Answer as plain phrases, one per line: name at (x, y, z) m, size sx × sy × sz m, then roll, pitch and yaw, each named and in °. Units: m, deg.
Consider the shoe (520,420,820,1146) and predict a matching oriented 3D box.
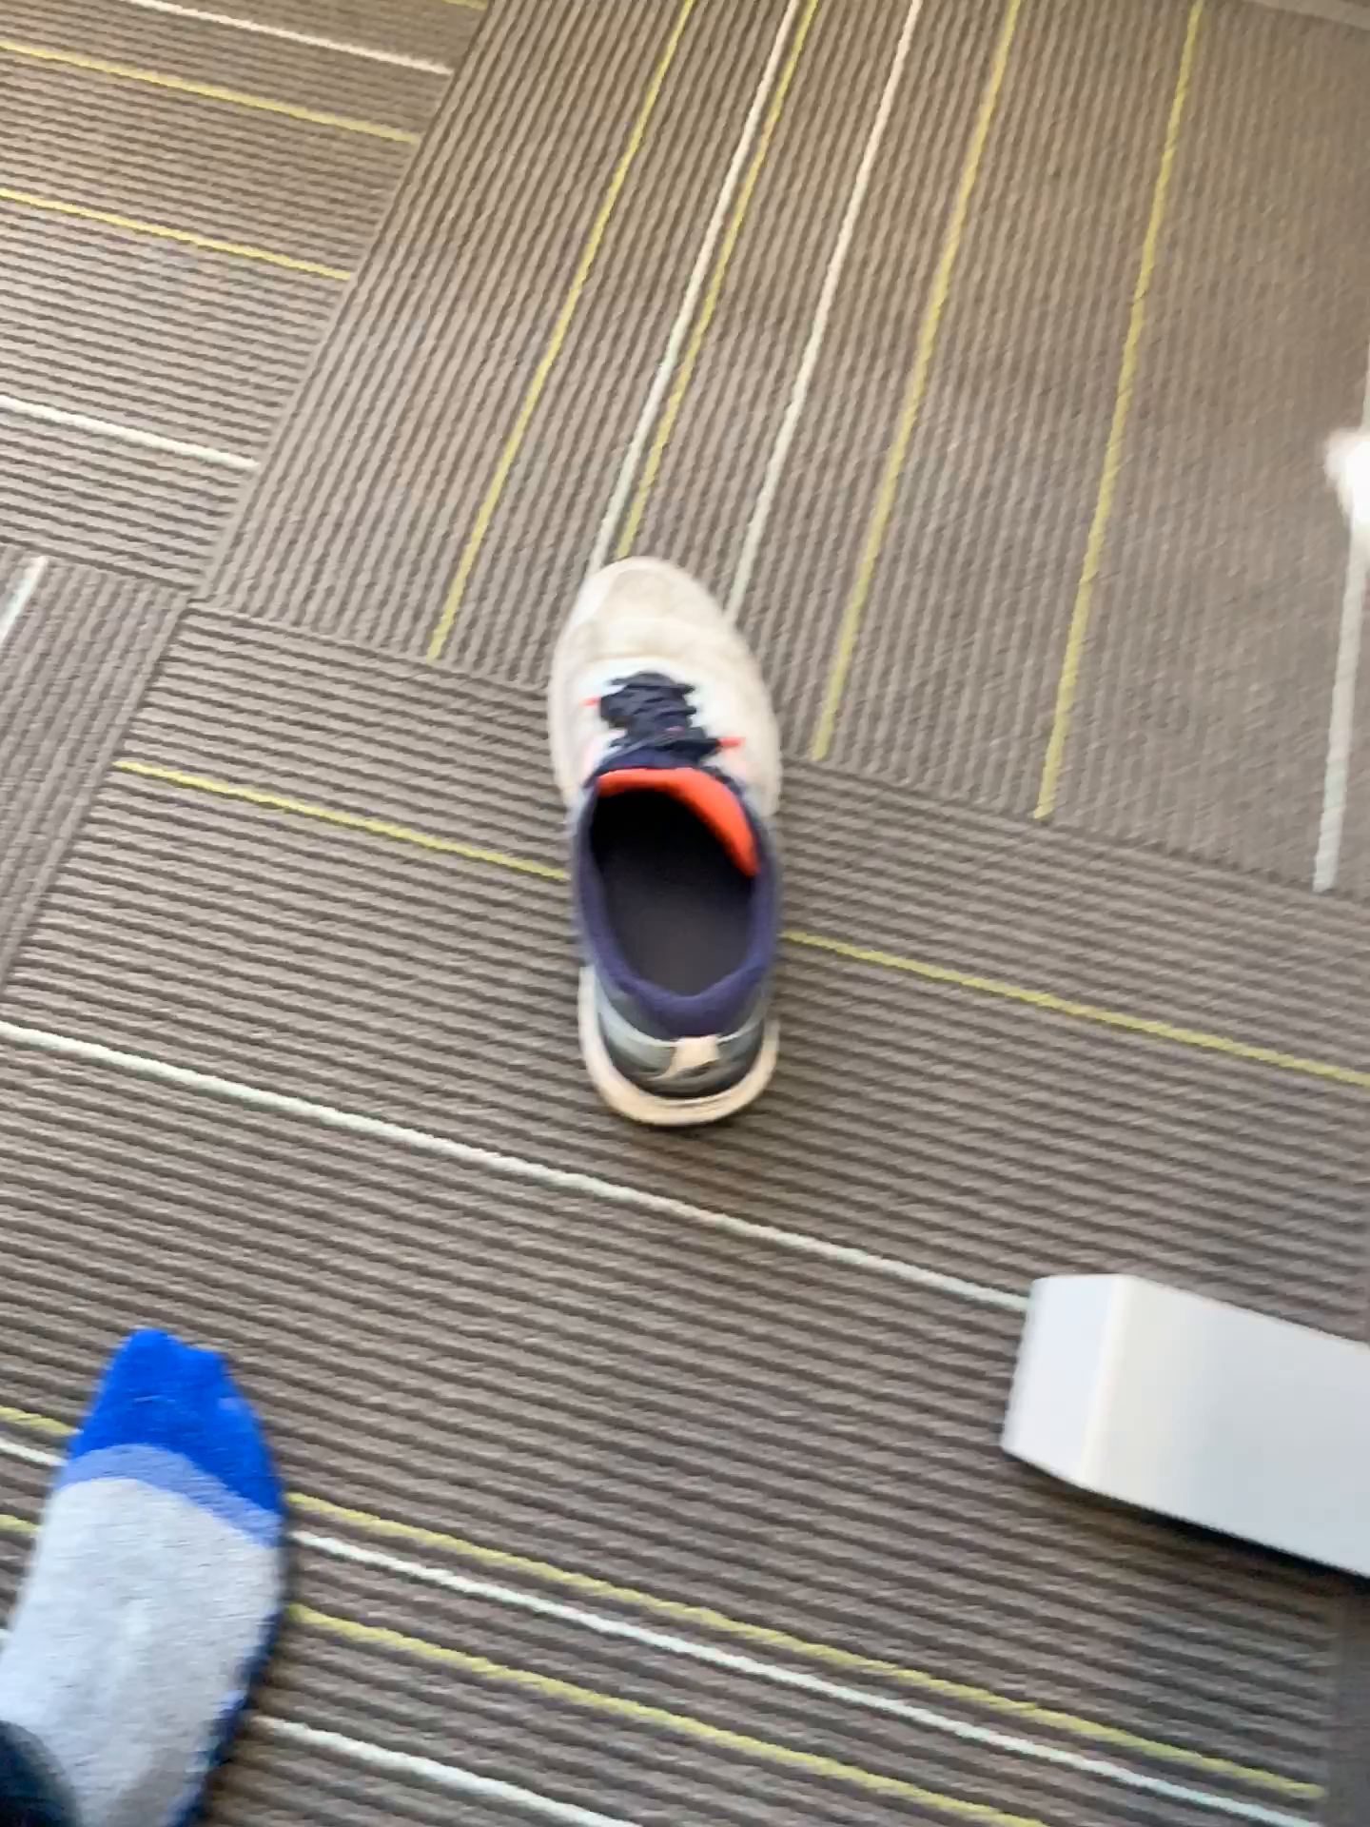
shoe at (-0.013, -0.060, 0.622) m, size 0.110 × 0.110 × 0.301 m, roll -2°, pitch 68°, yaw -3°
